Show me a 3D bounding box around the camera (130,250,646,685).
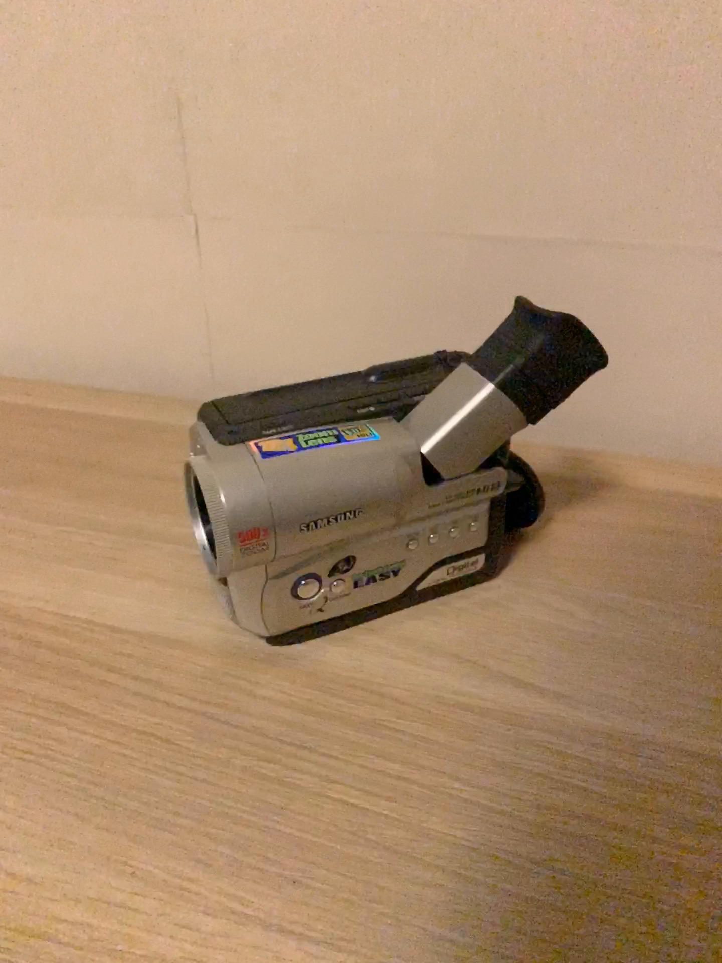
[{"bbox_3d":[0.010,-0.020,0.349,0.192,0.133,0.107,-13,32,-23],"label":"camera"}]
